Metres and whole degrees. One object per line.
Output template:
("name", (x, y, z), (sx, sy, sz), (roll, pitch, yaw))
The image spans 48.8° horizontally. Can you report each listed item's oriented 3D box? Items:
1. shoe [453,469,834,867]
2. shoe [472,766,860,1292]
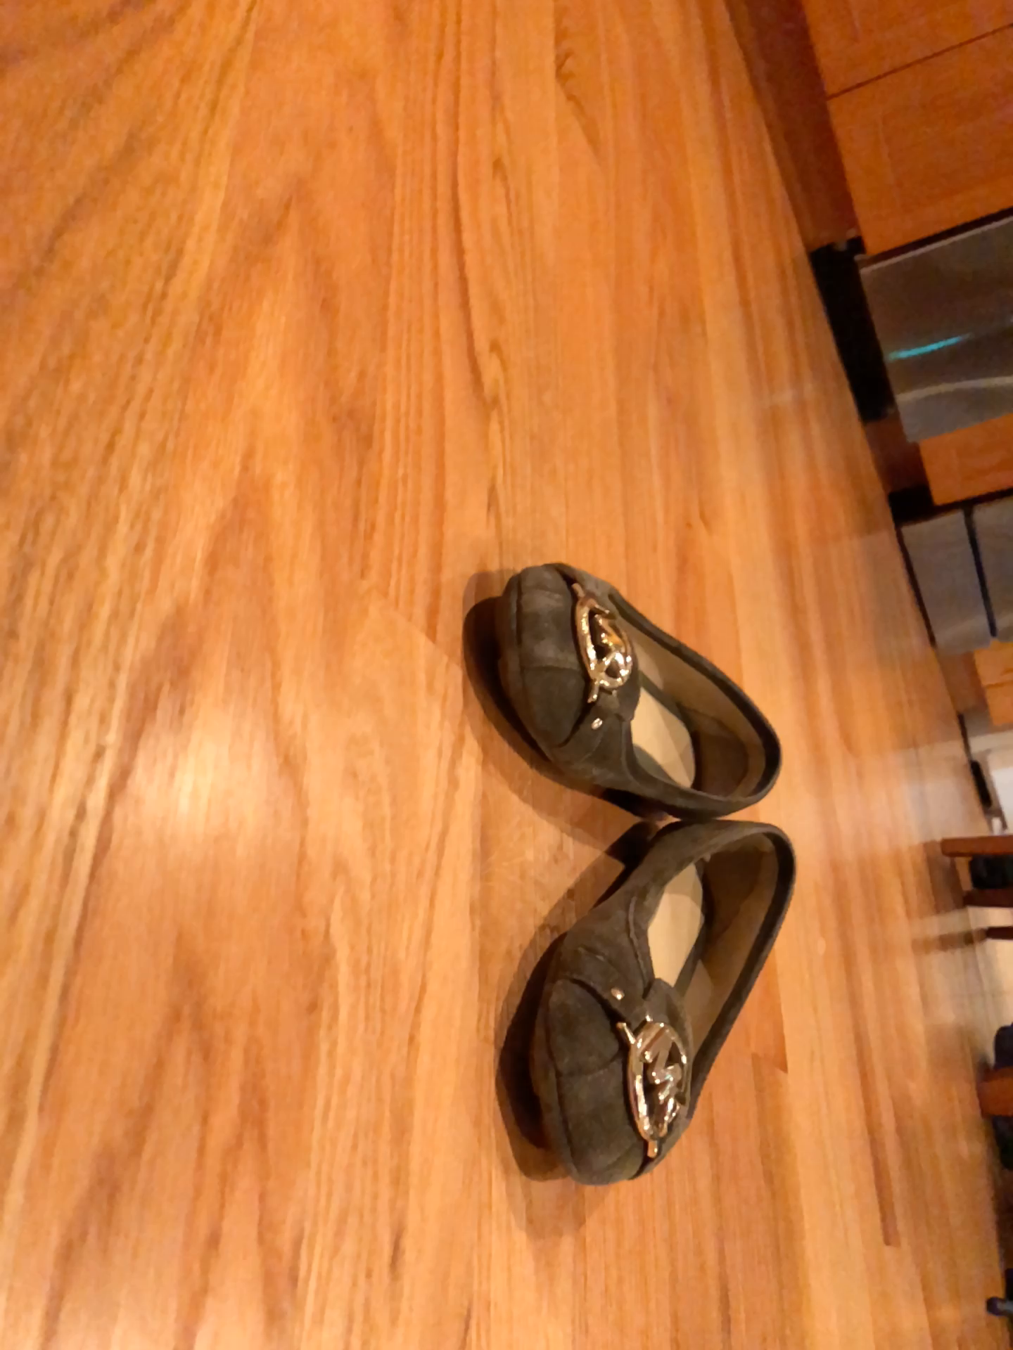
("shoe", (0.072, 0.015, 0.489), (0.240, 0.079, 0.091), (34, 48, -58))
("shoe", (0.081, 0.119, 0.444), (0.243, 0.079, 0.091), (-28, 104, -66))
